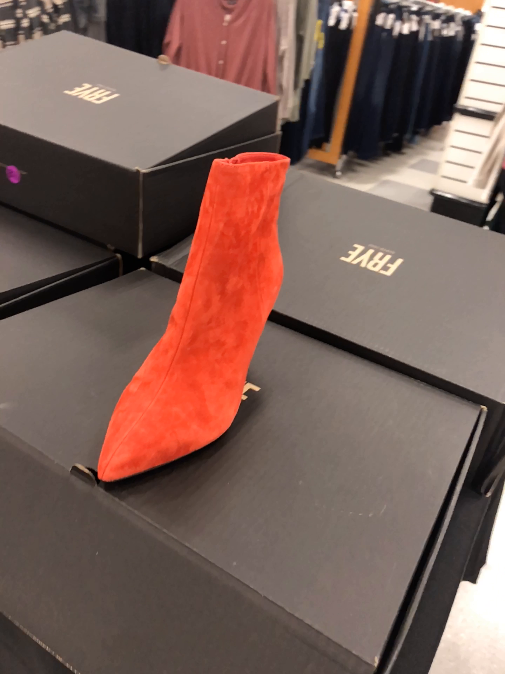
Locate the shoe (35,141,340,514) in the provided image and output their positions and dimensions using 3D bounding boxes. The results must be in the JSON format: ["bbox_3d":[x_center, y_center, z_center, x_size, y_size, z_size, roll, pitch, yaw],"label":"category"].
[{"bbox_3d":[-0.040,-0.035,0.455,0.100,0.211,0.262,20,27,19],"label":"shoe"}]
